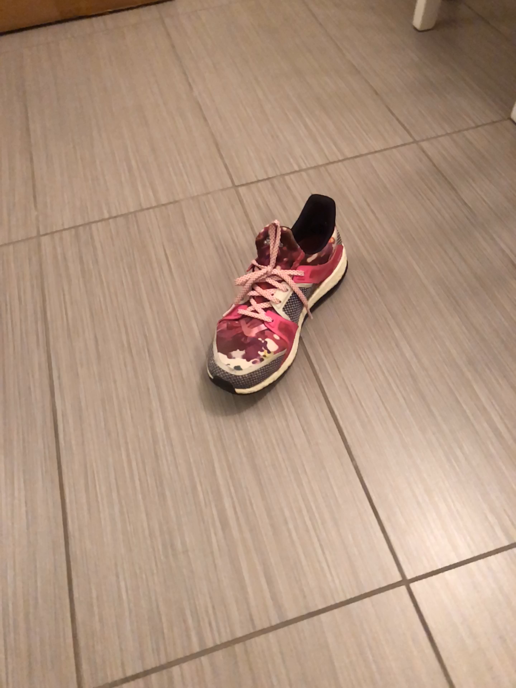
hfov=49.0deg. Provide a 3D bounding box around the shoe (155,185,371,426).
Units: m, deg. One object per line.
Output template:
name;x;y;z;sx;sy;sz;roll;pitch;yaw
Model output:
shoe;0.017;-0.057;0.671;0.110;0.090;0.281;25;59;22
